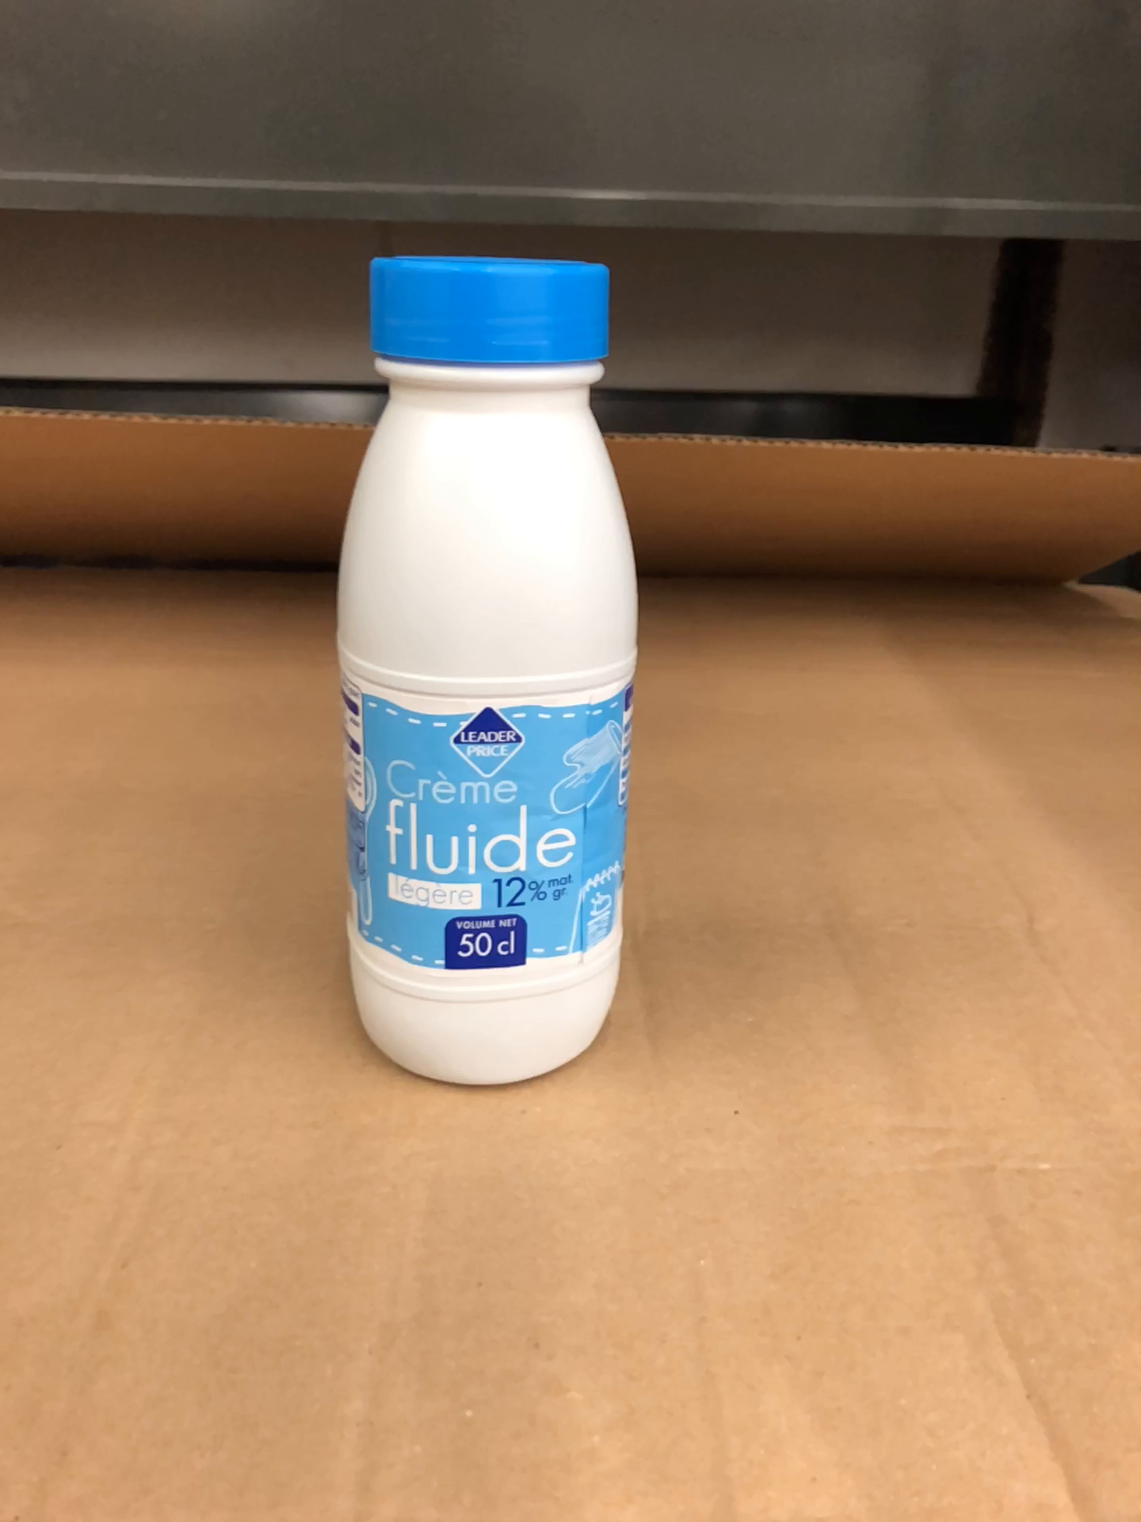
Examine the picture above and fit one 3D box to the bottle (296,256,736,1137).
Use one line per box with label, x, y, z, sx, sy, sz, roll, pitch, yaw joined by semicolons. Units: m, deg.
bottle;-0.016;-0.017;0.301;0.080;0.189;0.080;1;22;0
